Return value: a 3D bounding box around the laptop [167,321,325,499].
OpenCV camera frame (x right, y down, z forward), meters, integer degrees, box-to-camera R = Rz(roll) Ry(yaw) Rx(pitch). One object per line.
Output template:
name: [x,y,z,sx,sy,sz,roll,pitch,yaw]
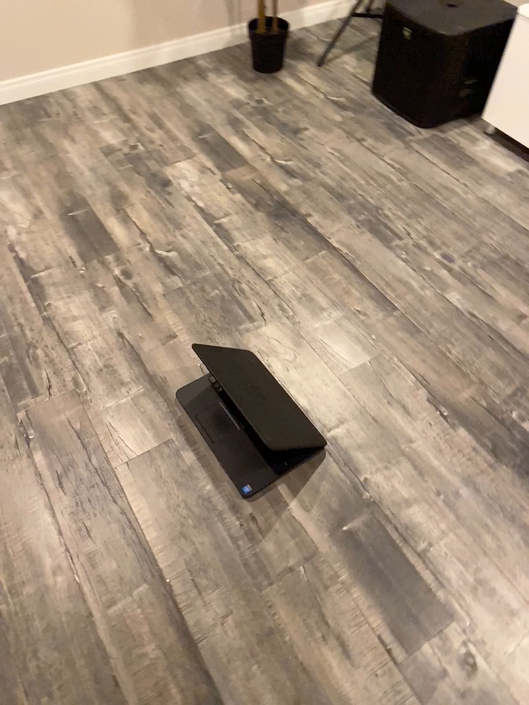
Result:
laptop: [-0.052,0.134,1.364,0.231,0.170,0.353,-27,58,-22]
